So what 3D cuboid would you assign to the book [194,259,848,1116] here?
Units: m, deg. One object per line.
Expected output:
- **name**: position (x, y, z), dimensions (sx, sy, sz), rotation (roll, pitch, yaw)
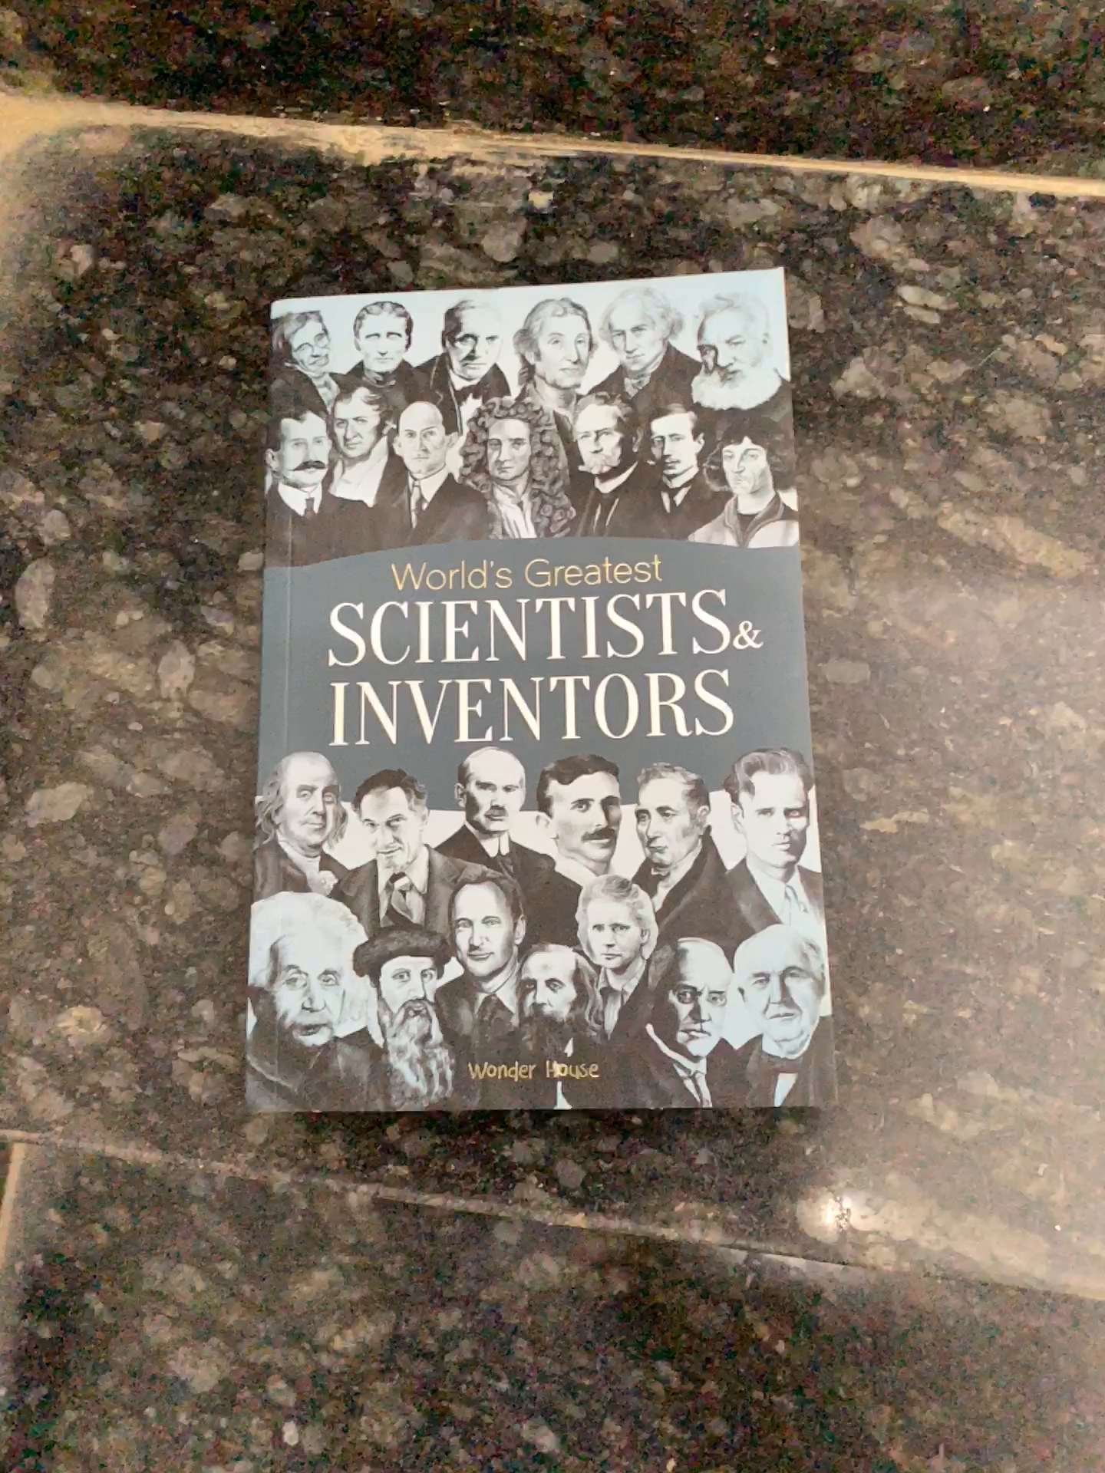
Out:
- **book**: position (-0.009, -0.016, 0.275), dimensions (0.140, 0.020, 0.200), rotation (-2, 78, 2)
